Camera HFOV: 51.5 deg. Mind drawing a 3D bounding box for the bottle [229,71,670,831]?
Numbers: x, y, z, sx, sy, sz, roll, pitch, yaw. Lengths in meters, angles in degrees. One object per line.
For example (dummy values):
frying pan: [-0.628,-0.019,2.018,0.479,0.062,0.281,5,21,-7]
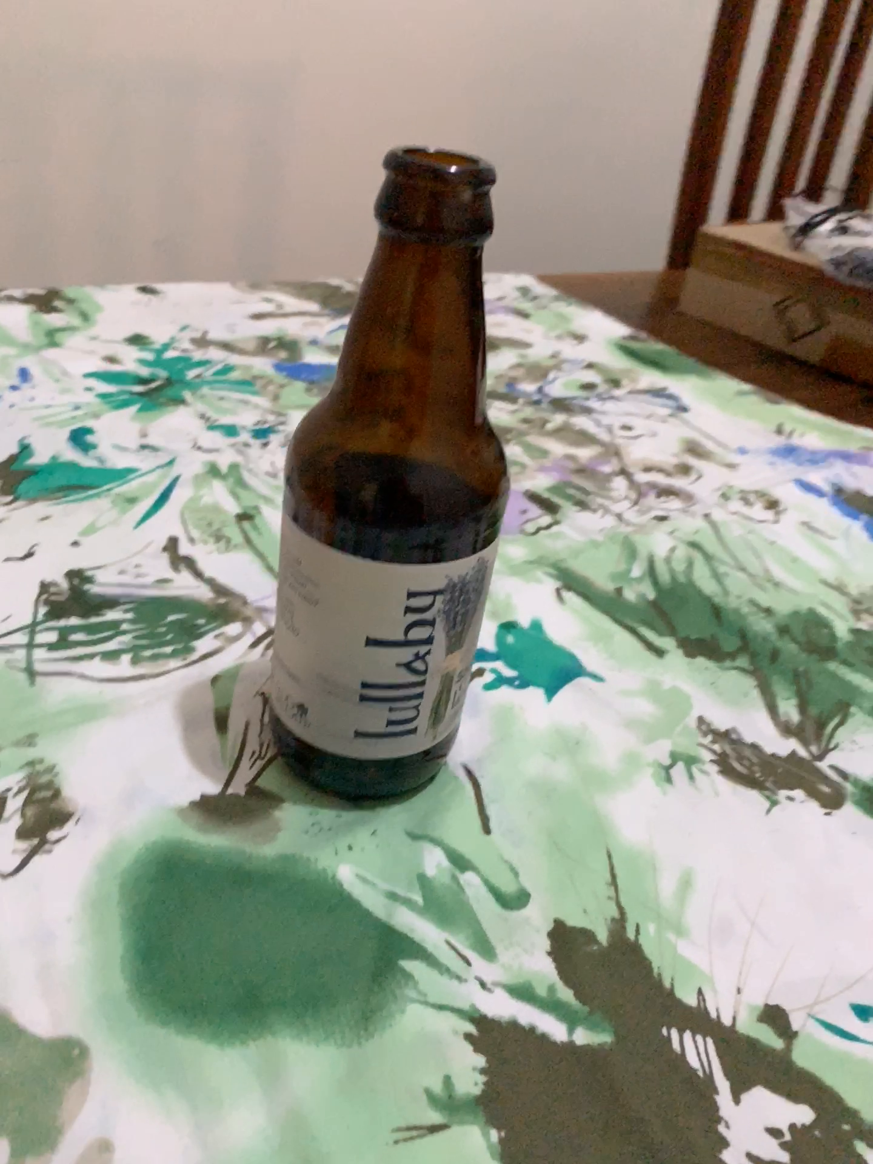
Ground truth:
bottle: [-0.011,-0.028,0.245,0.070,0.179,0.070,7,33,-5]
